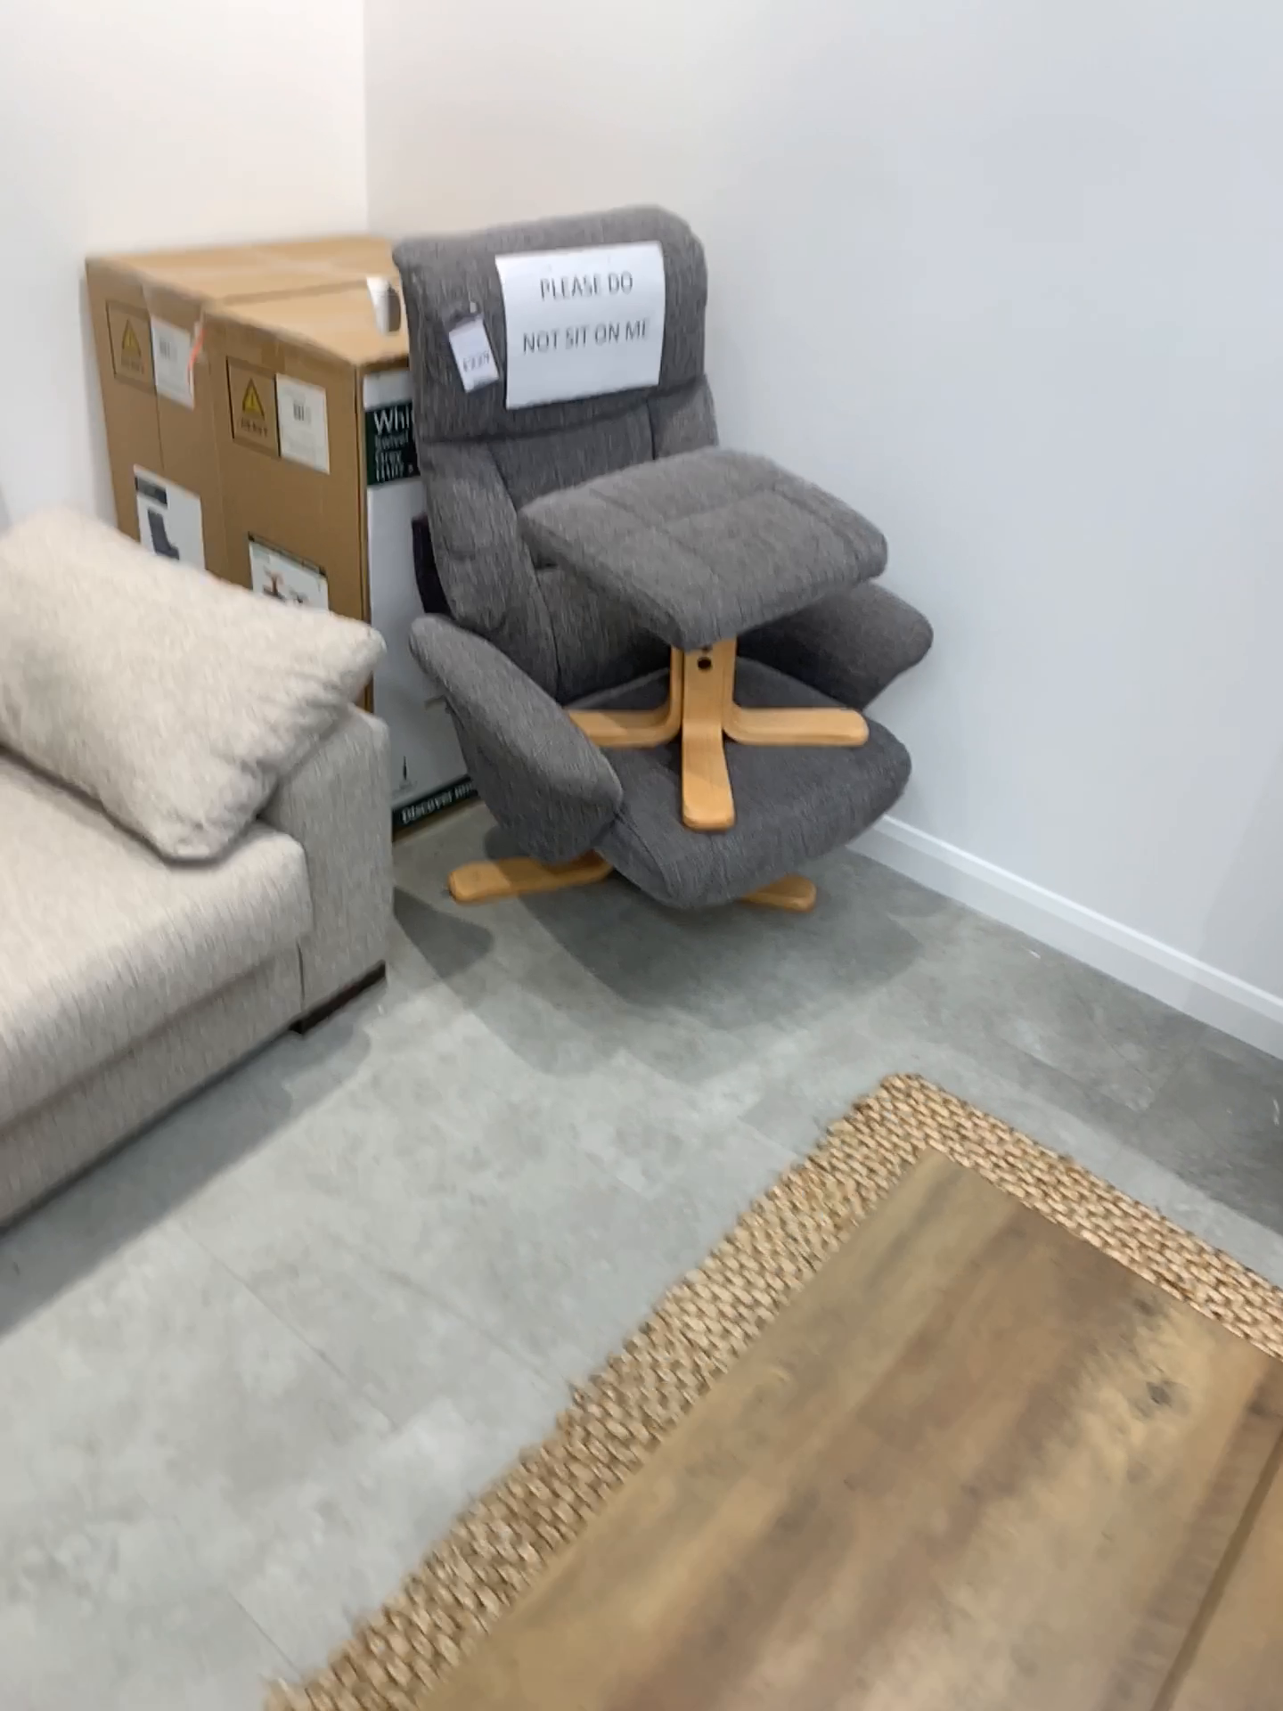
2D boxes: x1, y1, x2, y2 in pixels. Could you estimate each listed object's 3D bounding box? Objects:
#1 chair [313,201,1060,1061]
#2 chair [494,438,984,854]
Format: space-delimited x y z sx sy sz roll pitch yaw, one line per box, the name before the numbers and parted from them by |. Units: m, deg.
chair | 0.022 -0.396 2.016 0.723 0.975 0.705 32 41 33
chair | 0.128 -0.338 1.924 0.484 0.351 0.482 -25 45 -38
